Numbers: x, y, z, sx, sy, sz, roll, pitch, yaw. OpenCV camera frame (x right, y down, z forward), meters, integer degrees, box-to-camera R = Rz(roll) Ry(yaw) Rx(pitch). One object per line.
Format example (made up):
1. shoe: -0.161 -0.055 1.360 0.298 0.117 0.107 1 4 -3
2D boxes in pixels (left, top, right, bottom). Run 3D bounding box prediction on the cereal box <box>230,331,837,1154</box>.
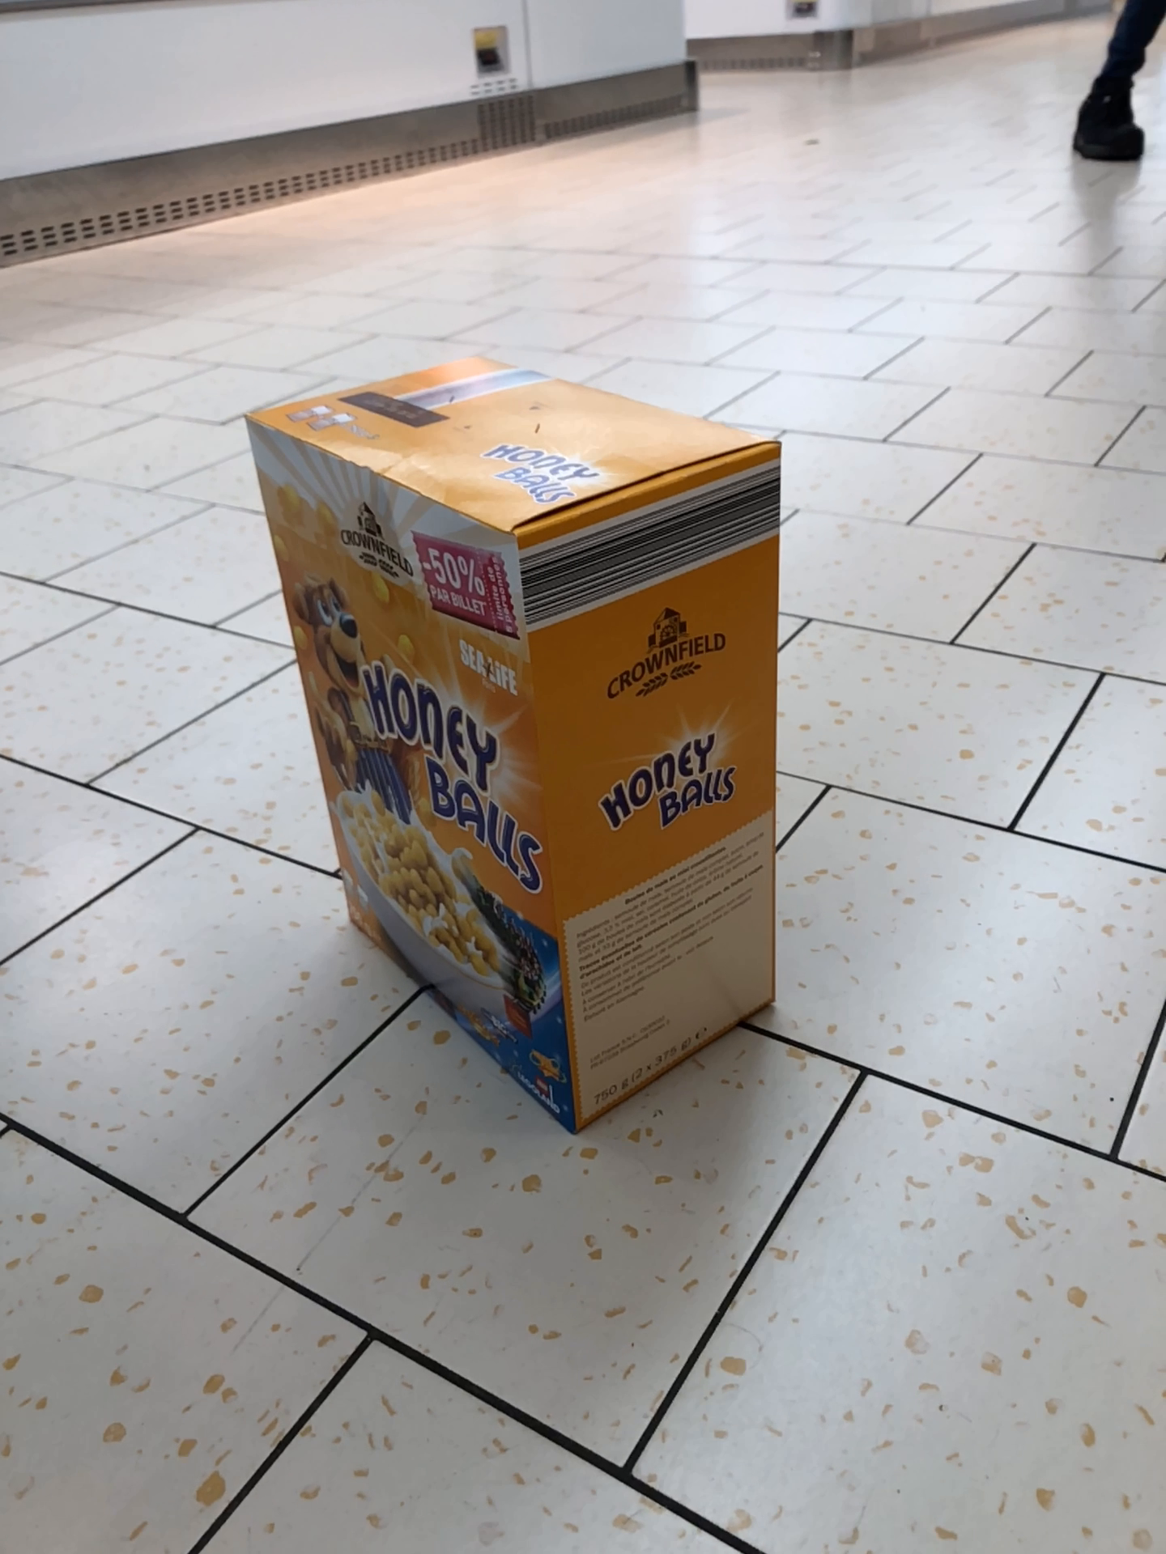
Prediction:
1. cereal box: -0.020 -0.028 0.541 0.130 0.259 0.210 -23 35 -29
